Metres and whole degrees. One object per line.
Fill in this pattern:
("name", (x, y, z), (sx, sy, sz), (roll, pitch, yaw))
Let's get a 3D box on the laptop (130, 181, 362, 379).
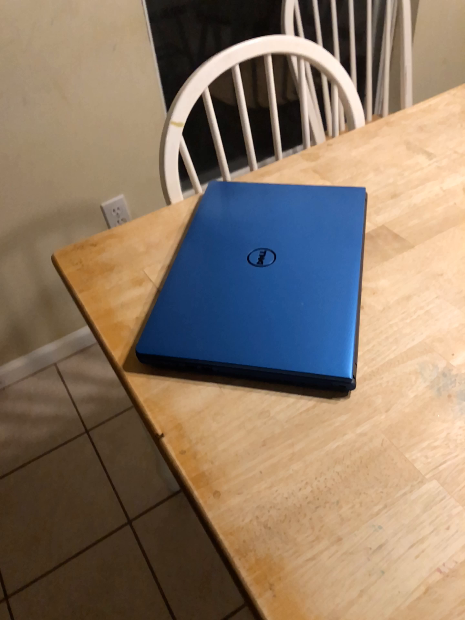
("laptop", (0.043, -0.073, 0.725), (0.259, 0.001, 0.390), (5, 46, 13))
